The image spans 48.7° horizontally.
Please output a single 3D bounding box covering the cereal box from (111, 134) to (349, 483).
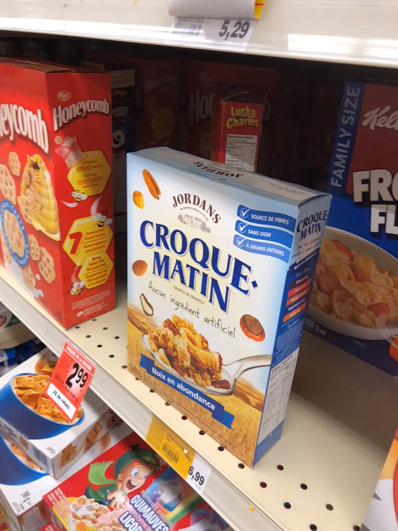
[{"bbox_3d":[0.005,0.033,0.402,0.201,0.258,0.050,26,34,36],"label":"cereal box"}]
